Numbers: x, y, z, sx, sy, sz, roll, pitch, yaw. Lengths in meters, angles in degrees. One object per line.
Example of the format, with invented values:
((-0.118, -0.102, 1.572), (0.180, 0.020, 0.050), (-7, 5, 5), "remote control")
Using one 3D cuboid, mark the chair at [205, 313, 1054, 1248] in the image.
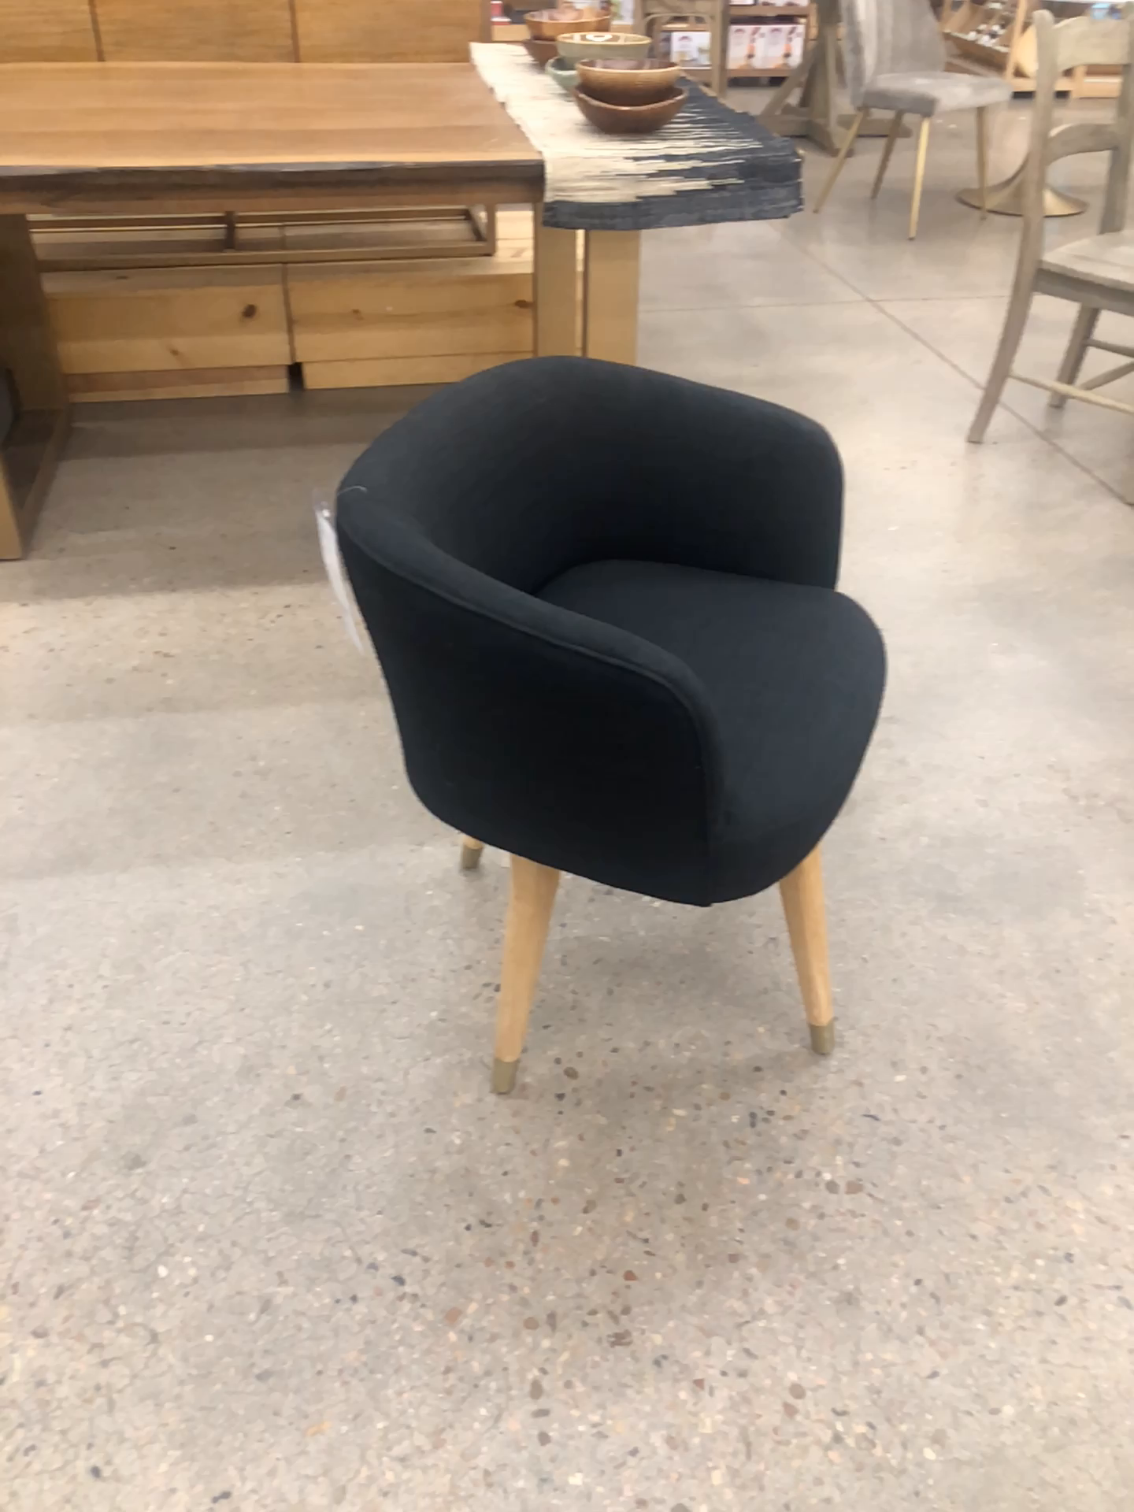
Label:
((0.090, -0.022, 1.372), (0.603, 0.669, 0.604), (18, 40, 22), "chair")
